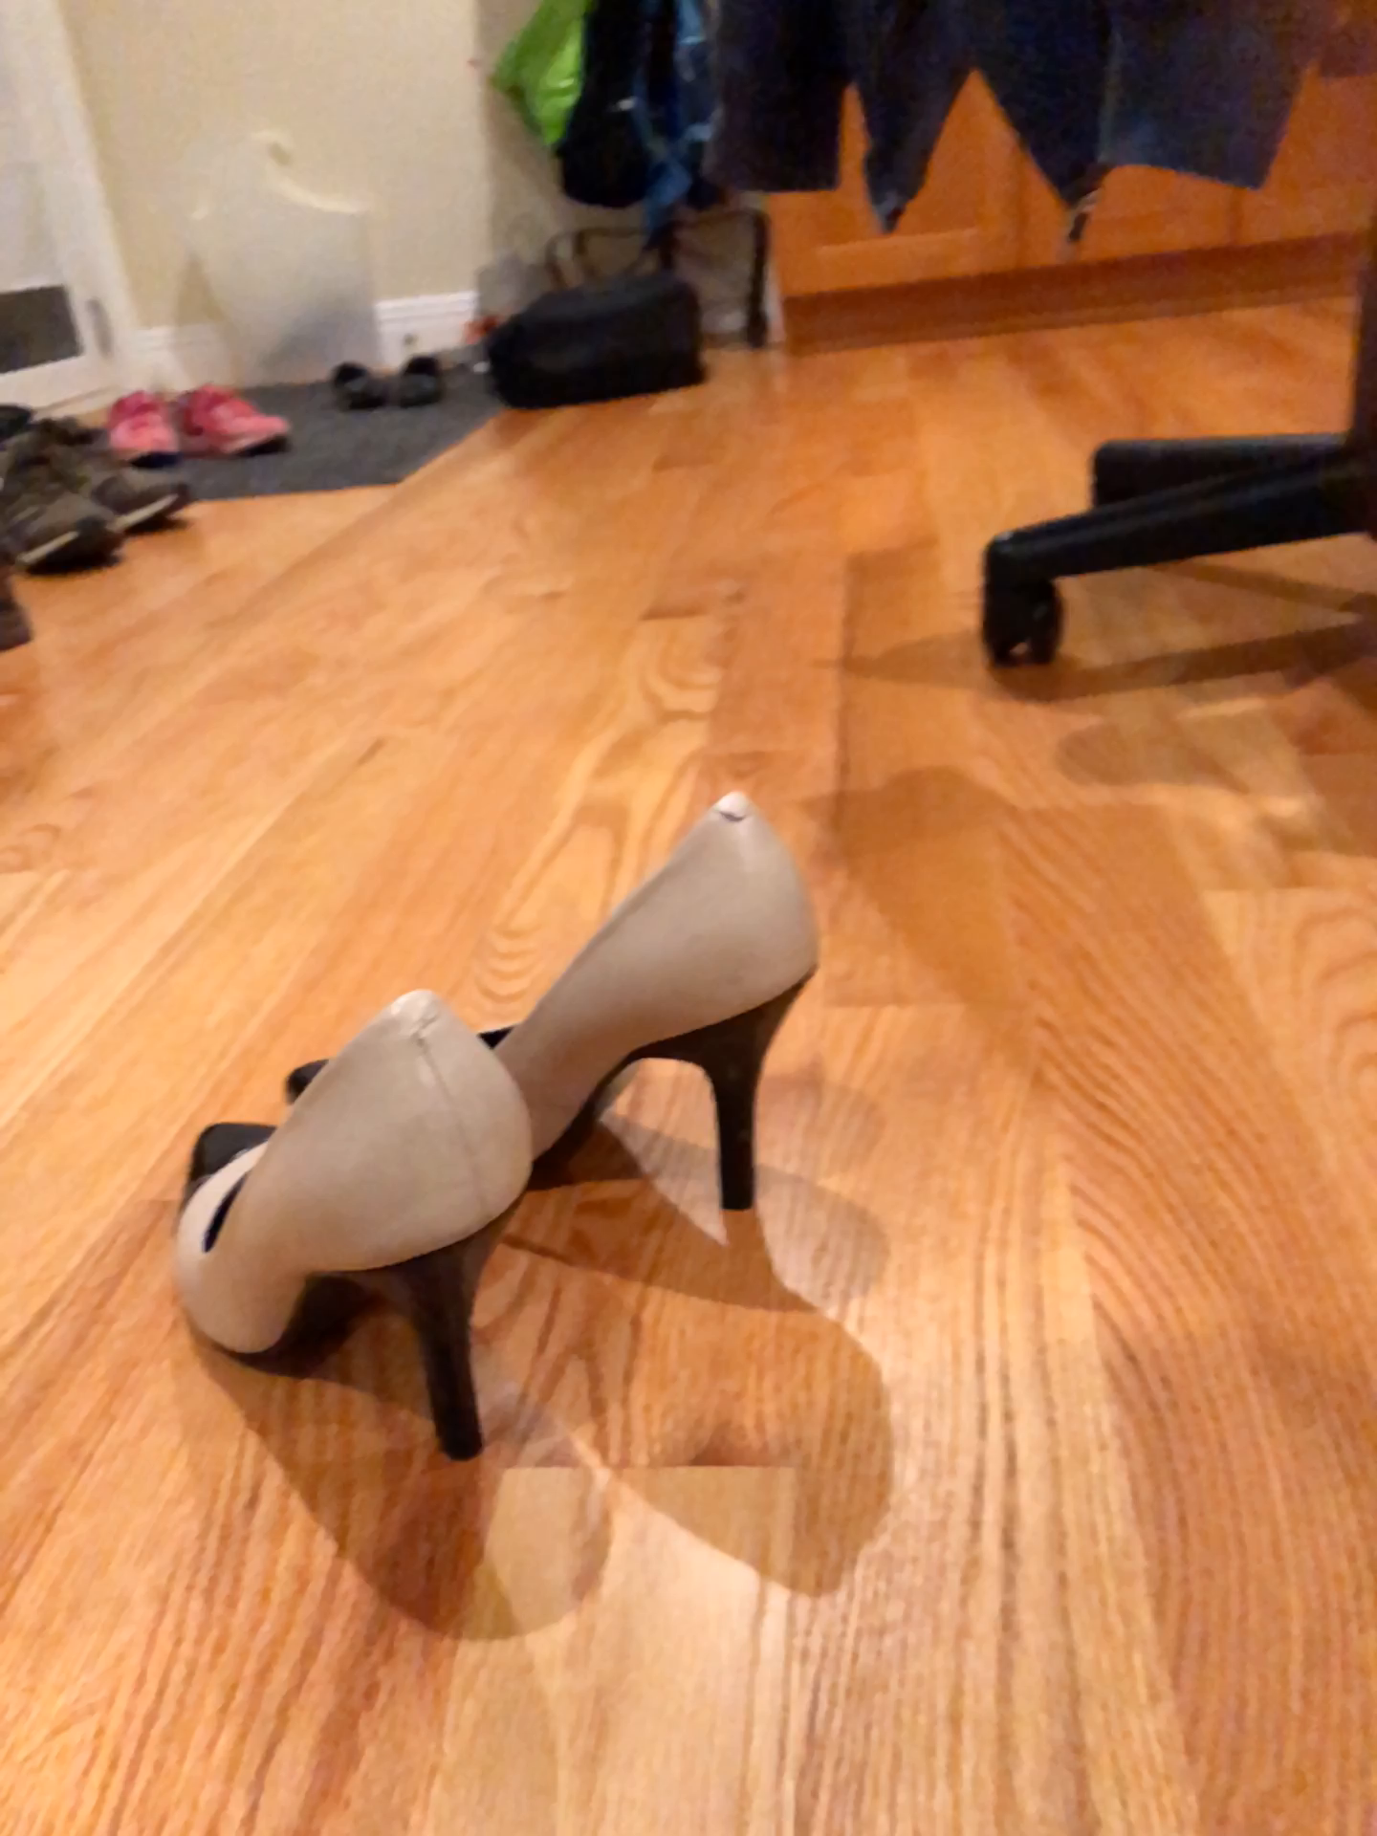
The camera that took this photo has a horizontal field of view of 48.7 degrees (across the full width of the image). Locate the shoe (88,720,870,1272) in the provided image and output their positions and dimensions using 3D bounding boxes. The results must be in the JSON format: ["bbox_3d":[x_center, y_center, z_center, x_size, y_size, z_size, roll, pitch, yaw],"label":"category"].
[{"bbox_3d":[-0.068,0.016,0.518,0.235,0.138,0.085,5,27,25],"label":"shoe"}]

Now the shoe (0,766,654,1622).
[{"bbox_3d":[-0.120,0.057,0.444,0.085,0.138,0.236,-22,29,-30],"label":"shoe"}]
